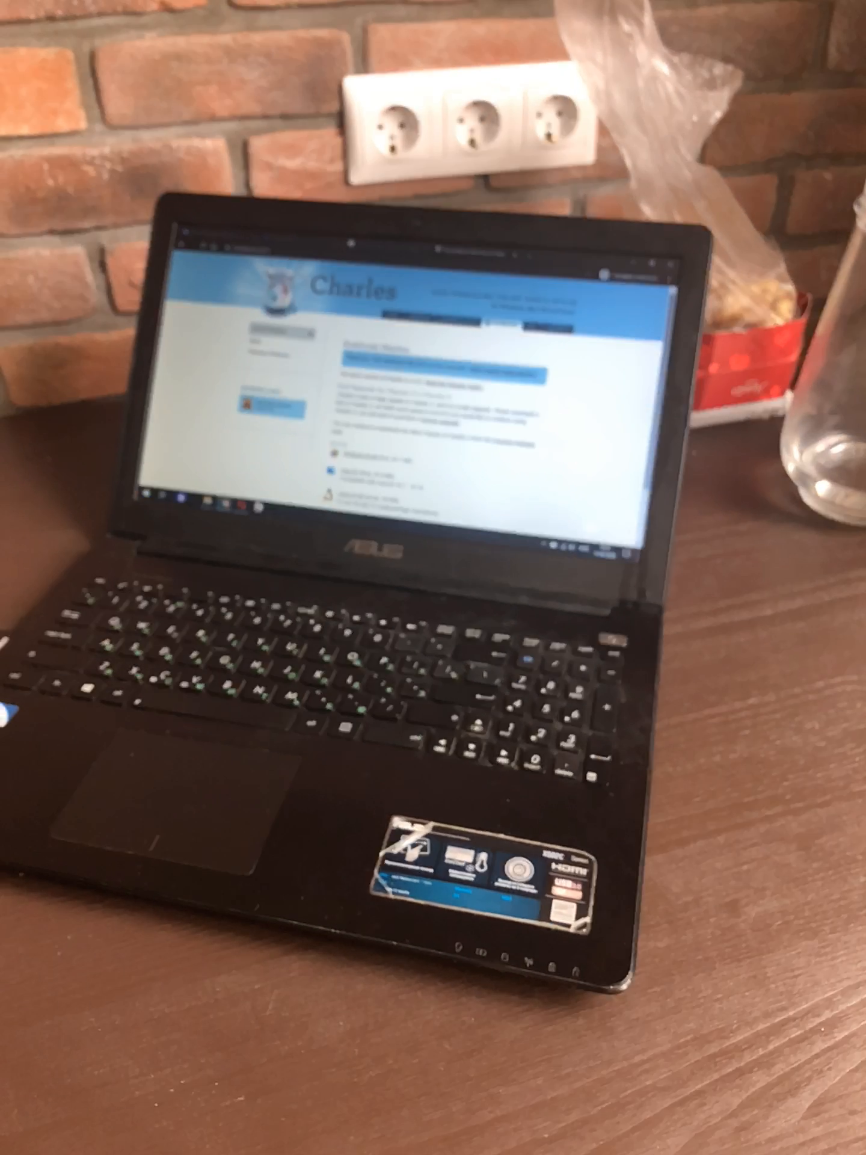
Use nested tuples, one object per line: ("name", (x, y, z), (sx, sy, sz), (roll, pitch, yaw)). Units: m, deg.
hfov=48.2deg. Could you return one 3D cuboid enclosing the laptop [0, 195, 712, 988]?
("laptop", (-0.058, -0.050, 0.529), (0.372, 0.186, 0.401), (8, 37, 12))
